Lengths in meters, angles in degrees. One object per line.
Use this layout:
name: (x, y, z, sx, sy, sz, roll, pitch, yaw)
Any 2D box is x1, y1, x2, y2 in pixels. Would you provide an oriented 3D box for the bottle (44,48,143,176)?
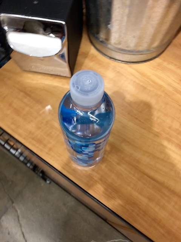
bottle: (-0.003, 0.011, 0.263, 0.070, 0.200, 0.070, 1, 65, -1)
